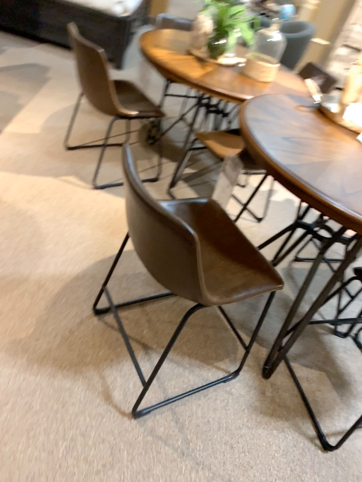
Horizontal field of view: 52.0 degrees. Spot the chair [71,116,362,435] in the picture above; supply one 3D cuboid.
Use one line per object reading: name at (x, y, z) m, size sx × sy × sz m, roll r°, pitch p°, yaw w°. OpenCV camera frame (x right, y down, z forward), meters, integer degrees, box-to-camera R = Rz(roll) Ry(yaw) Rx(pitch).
chair at (0.015, 0.101, 1.279) m, size 0.581 × 0.806 × 0.602 m, roll -8°, pitch 47°, yaw -29°
